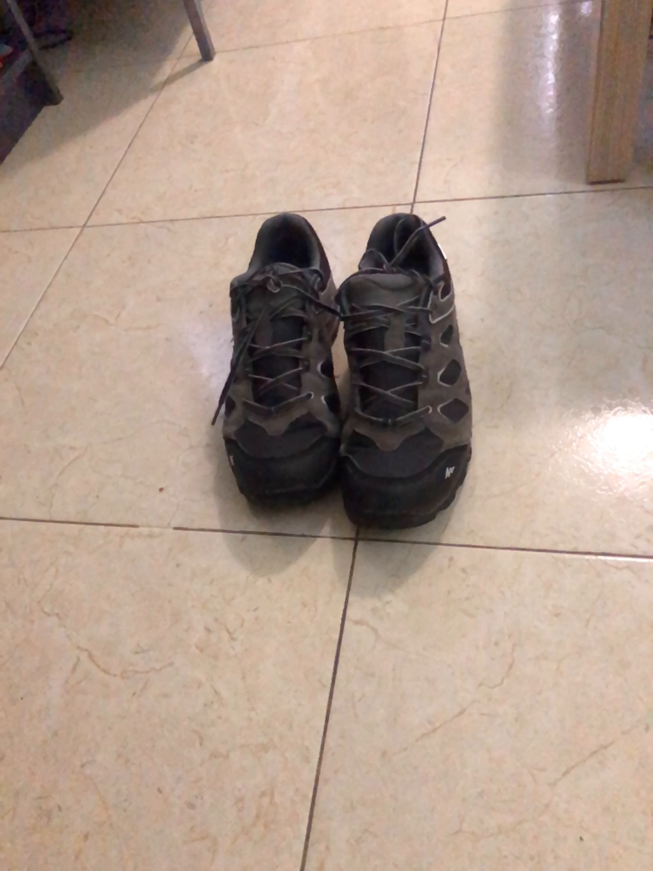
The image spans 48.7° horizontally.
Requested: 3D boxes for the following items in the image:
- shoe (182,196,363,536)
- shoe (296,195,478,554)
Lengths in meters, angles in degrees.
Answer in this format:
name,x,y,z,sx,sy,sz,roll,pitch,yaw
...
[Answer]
name,x,y,z,sx,sy,sz,roll,pitch,yaw
shoe,-0.036,-0.075,0.674,0.120,0.110,0.311,-7,51,10
shoe,0.068,-0.063,0.628,0.120,0.110,0.311,-2,52,14
